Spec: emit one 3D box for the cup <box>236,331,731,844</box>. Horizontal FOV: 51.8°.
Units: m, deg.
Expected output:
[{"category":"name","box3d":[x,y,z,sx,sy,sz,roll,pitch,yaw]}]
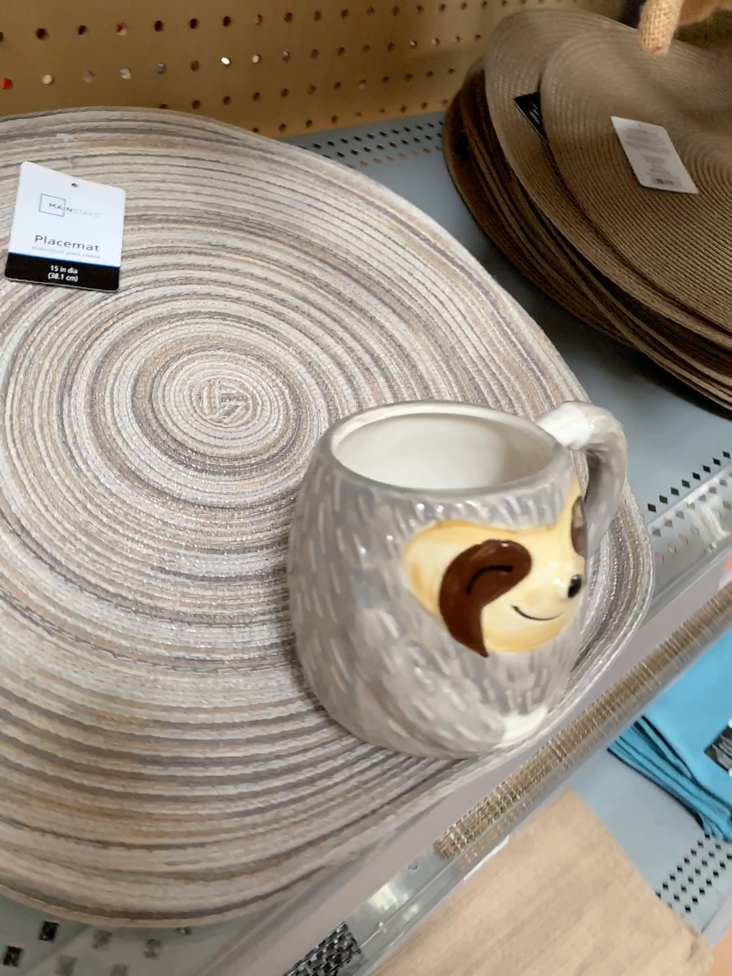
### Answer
[{"category":"cup","box3d":[0.050,0.017,0.269,0.151,0.089,0.106,-25,39,-36]}]
